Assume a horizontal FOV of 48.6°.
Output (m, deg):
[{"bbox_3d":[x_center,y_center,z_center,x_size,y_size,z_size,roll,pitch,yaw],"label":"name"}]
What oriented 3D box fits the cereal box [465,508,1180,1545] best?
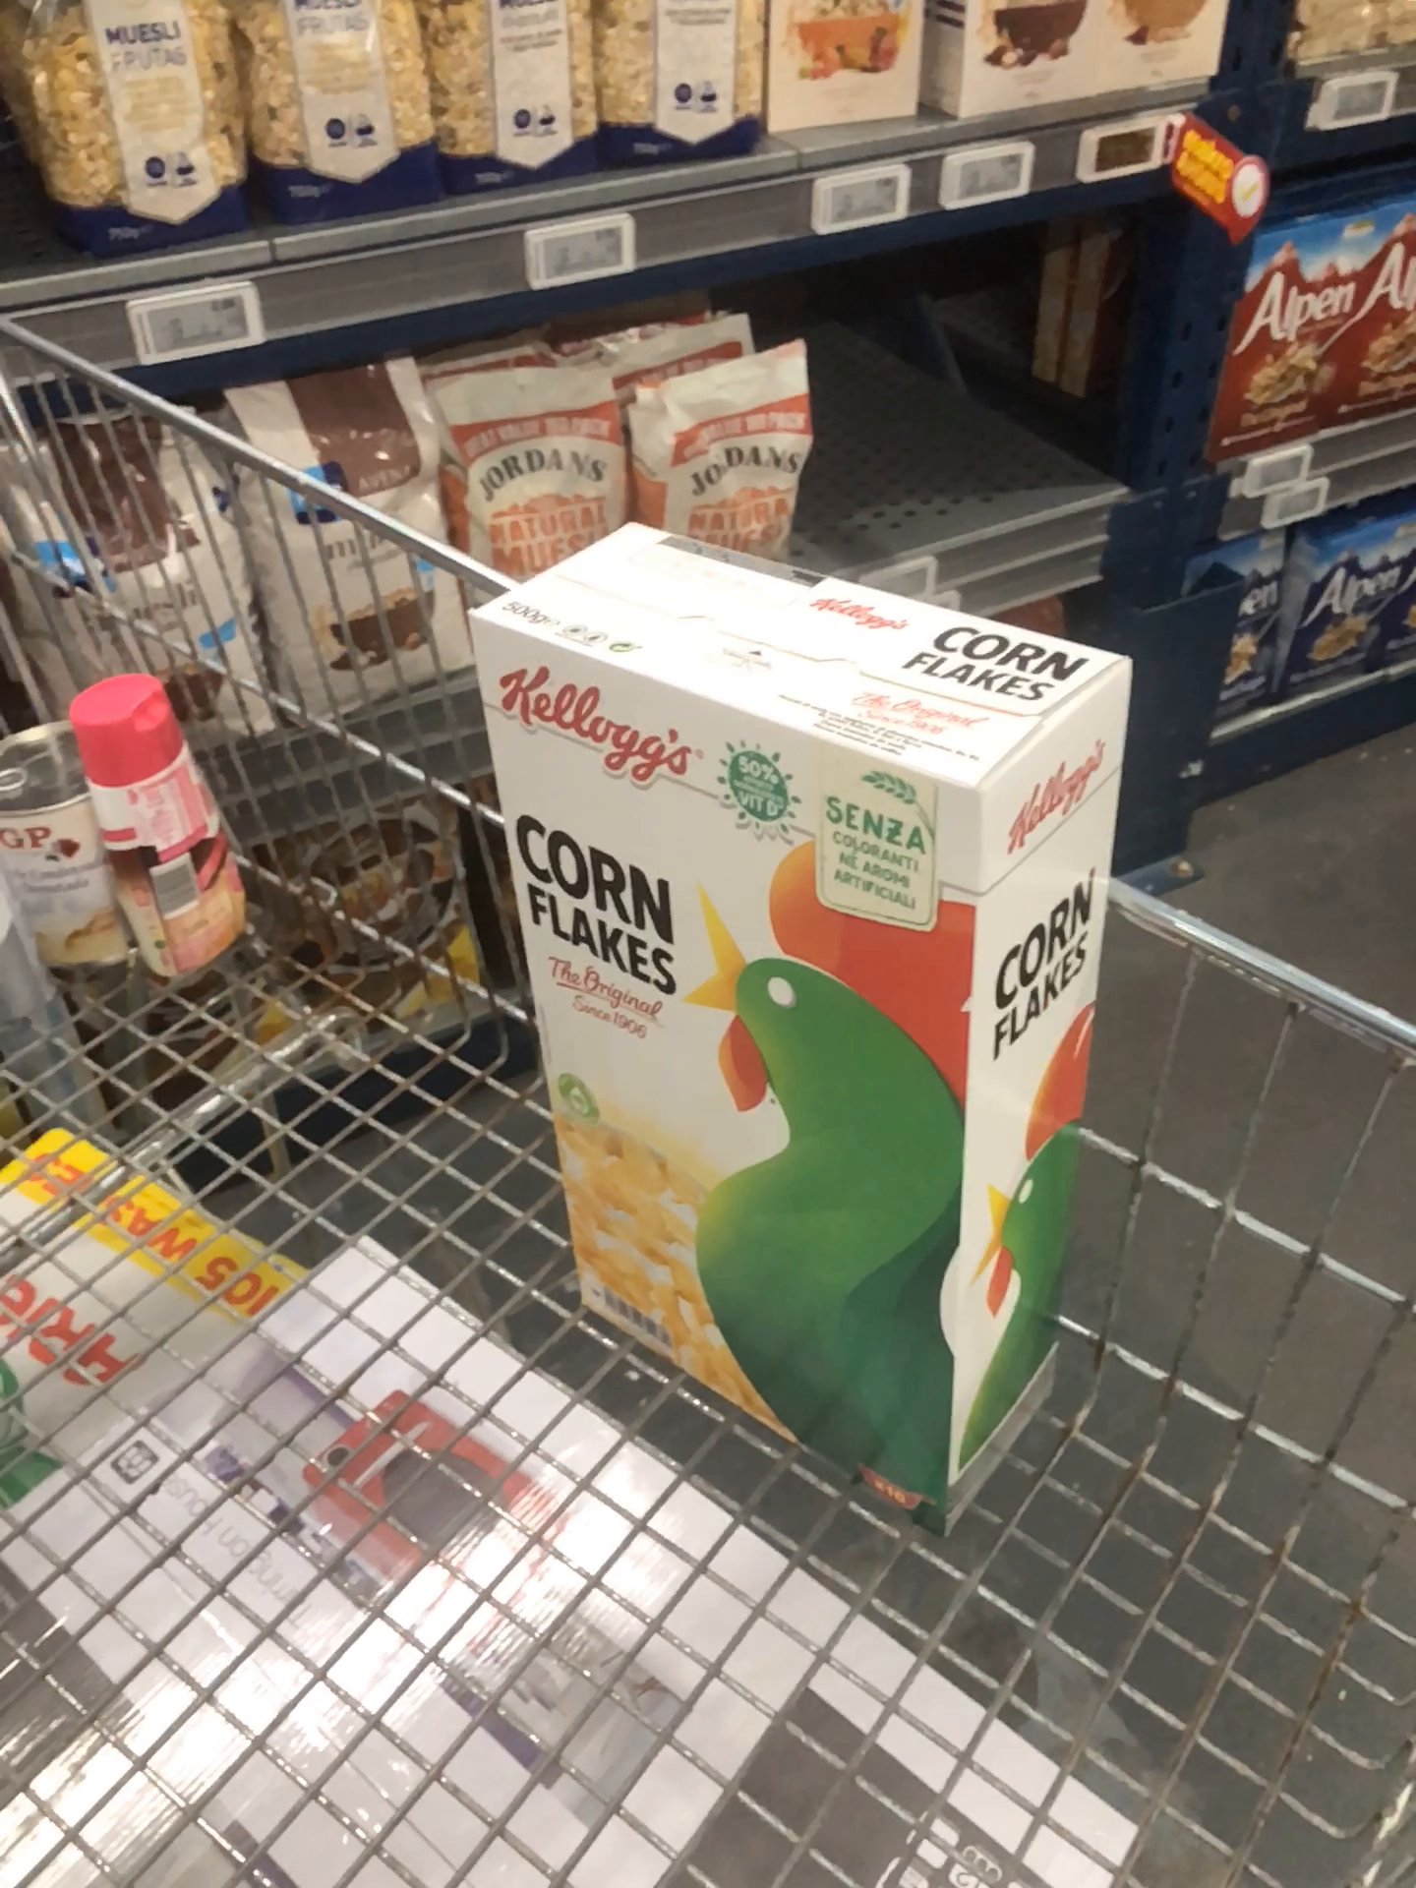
[{"bbox_3d":[0.039,0.037,0.556,0.190,0.329,0.090,24,46,32],"label":"cereal box"}]
